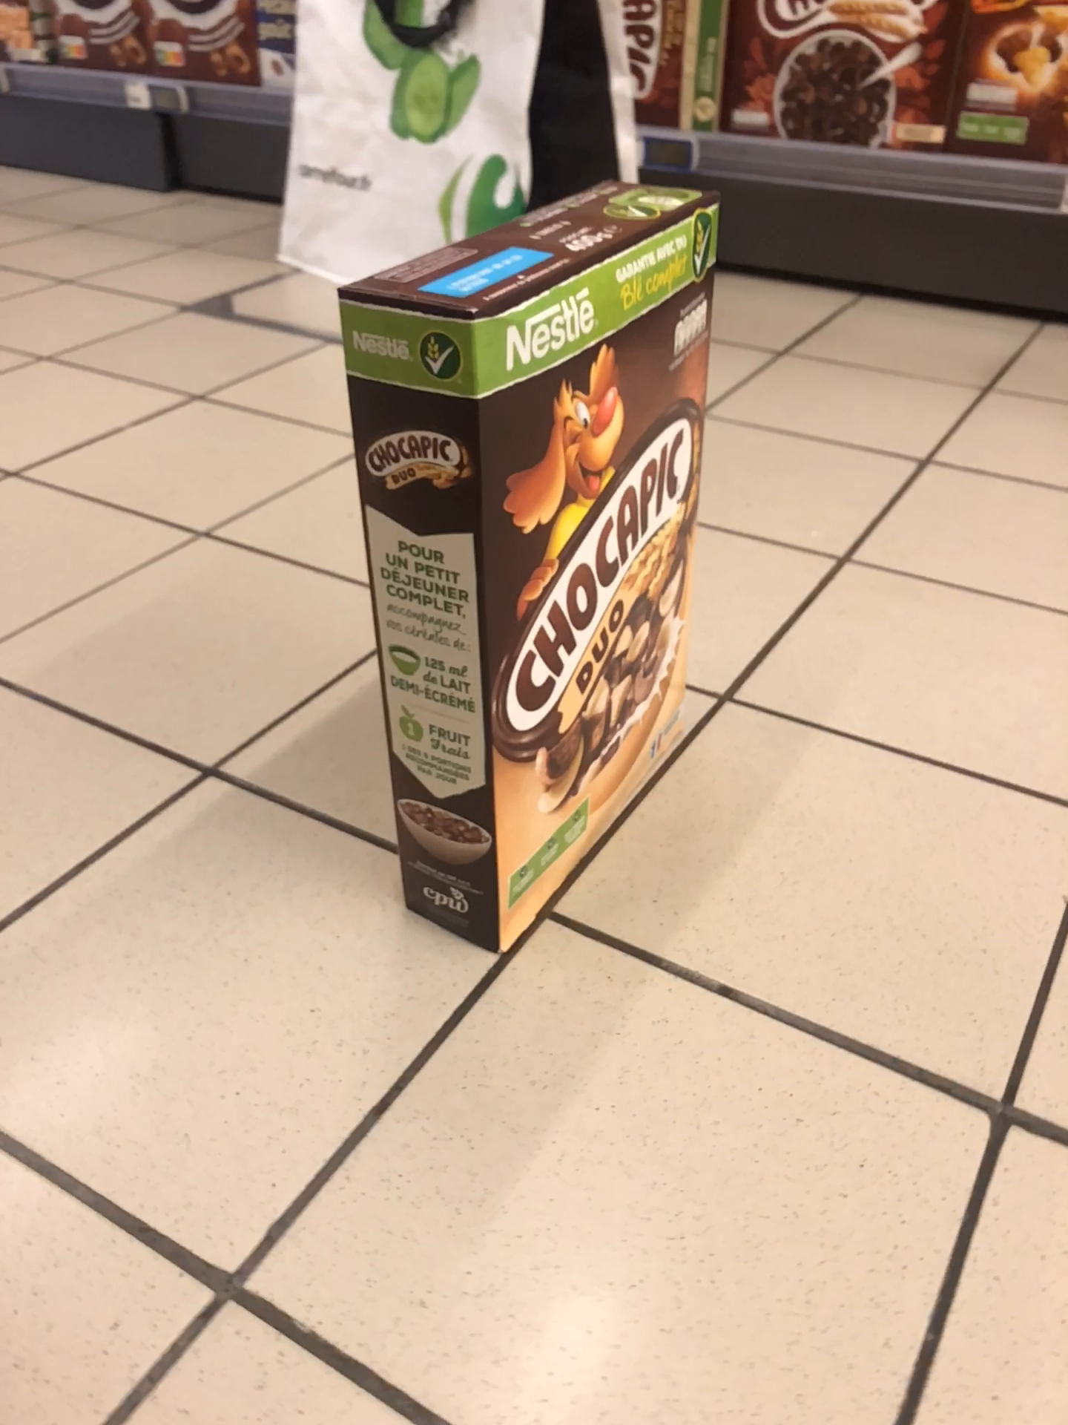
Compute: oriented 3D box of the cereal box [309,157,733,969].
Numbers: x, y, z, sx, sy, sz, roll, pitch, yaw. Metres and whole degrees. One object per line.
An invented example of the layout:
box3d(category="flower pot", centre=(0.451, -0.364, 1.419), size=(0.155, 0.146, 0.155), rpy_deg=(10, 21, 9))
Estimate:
box3d(category="cereal box", centre=(0.009, -0.067, 0.500), size=(0.060, 0.278, 0.201), rpy_deg=(16, 37, 25))
